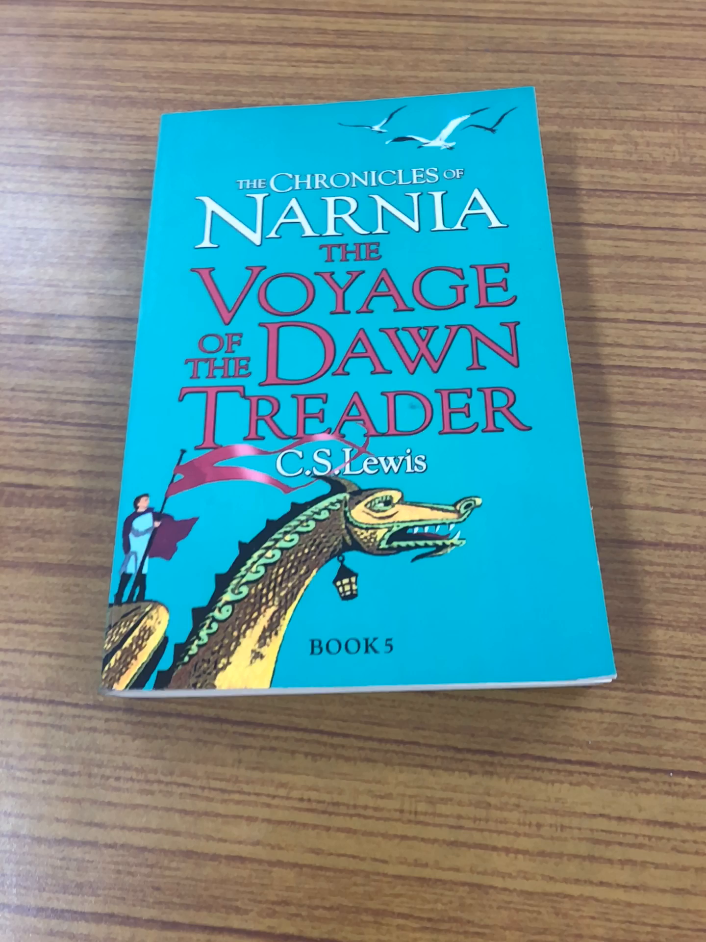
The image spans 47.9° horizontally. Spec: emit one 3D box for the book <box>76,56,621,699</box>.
[{"bbox_3d":[-0.002,-0.037,0.241,0.130,0.030,0.200,-2,68,3],"label":"book"}]
